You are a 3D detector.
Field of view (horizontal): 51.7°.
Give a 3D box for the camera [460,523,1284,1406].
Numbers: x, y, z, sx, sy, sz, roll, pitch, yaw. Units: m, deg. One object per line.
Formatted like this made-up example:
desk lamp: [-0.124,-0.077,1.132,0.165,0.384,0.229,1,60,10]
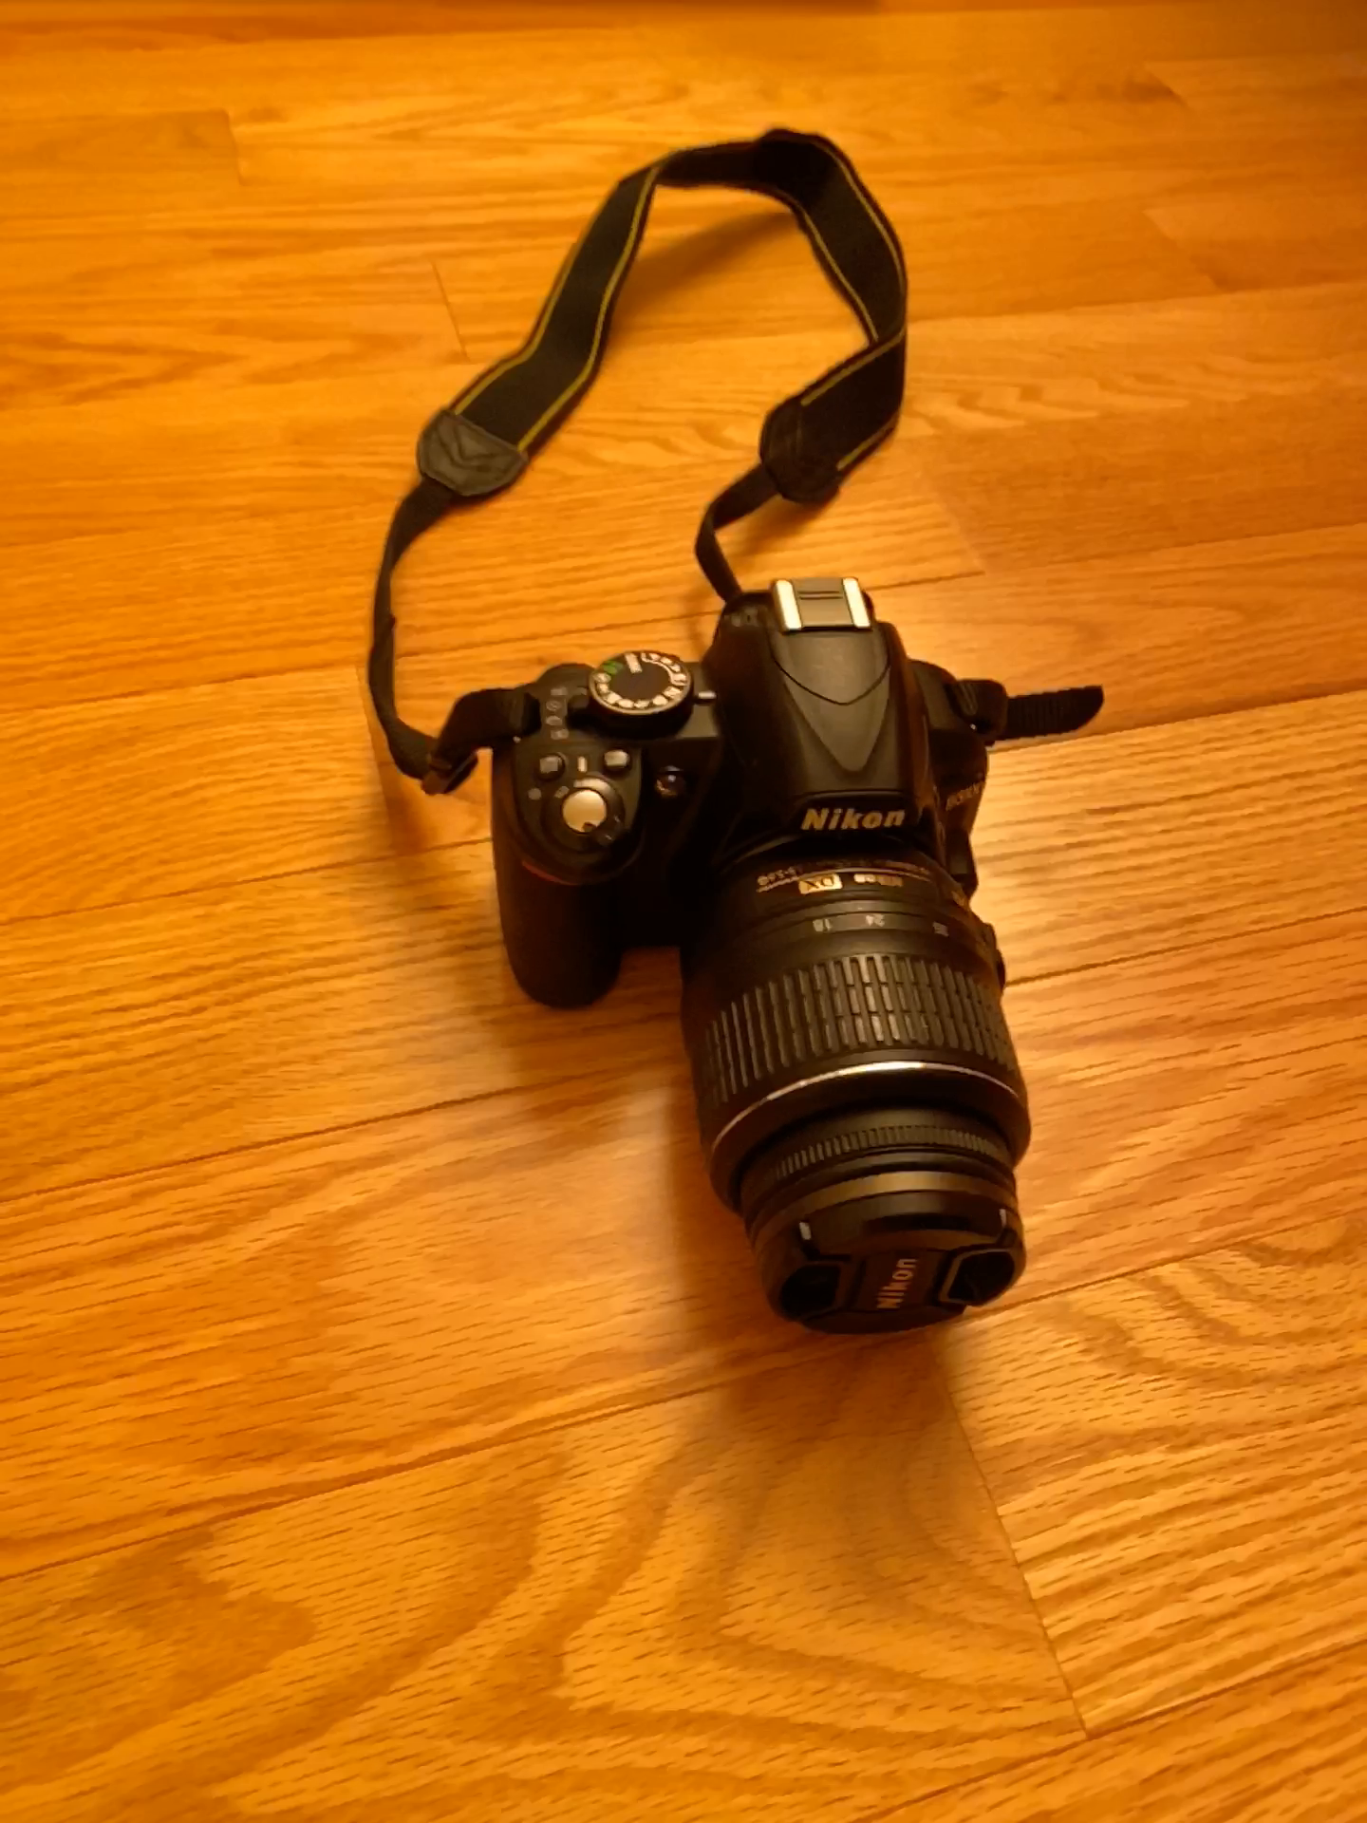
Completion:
camera: [0.023,0.005,0.317,0.130,0.099,0.161,-5,51,-8]
